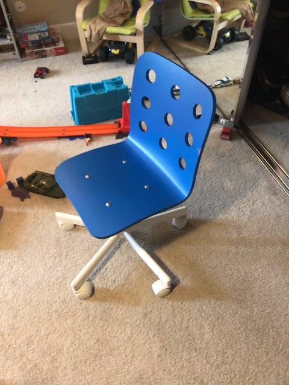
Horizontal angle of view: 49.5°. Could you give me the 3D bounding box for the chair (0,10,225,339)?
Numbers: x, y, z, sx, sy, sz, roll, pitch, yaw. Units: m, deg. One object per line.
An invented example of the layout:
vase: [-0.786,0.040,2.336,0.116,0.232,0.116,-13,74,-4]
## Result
chair: [-0.144,-0.029,0.903,0.361,0.705,0.521,-30,53,-23]
